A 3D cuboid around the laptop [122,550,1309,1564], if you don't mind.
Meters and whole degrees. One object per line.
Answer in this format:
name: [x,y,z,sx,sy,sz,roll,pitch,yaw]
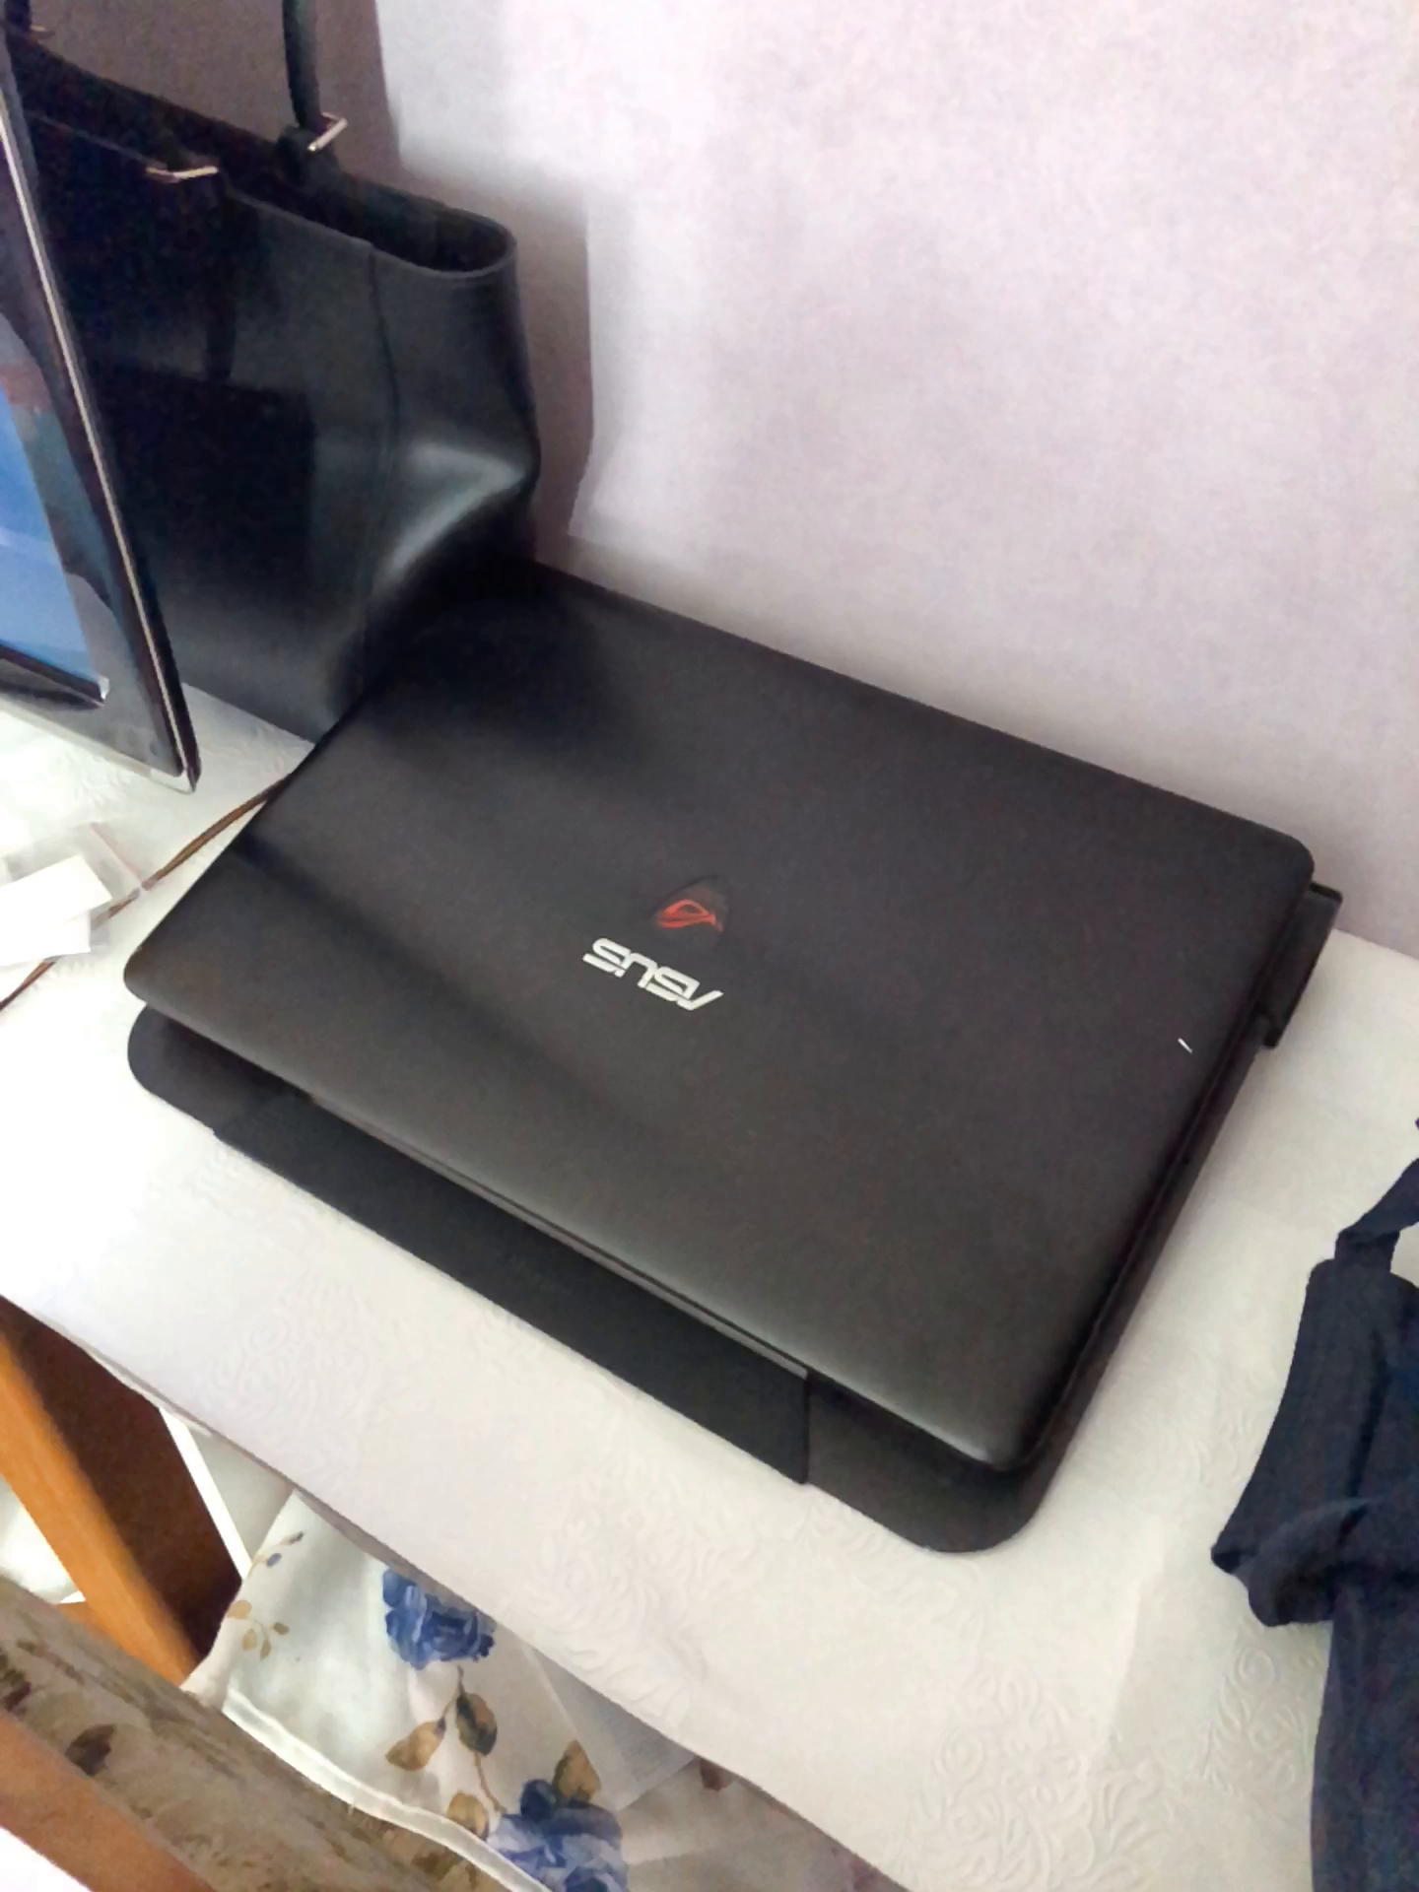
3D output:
laptop: [-0.004,0.008,0.630,0.395,0.060,0.267,24,61,22]
